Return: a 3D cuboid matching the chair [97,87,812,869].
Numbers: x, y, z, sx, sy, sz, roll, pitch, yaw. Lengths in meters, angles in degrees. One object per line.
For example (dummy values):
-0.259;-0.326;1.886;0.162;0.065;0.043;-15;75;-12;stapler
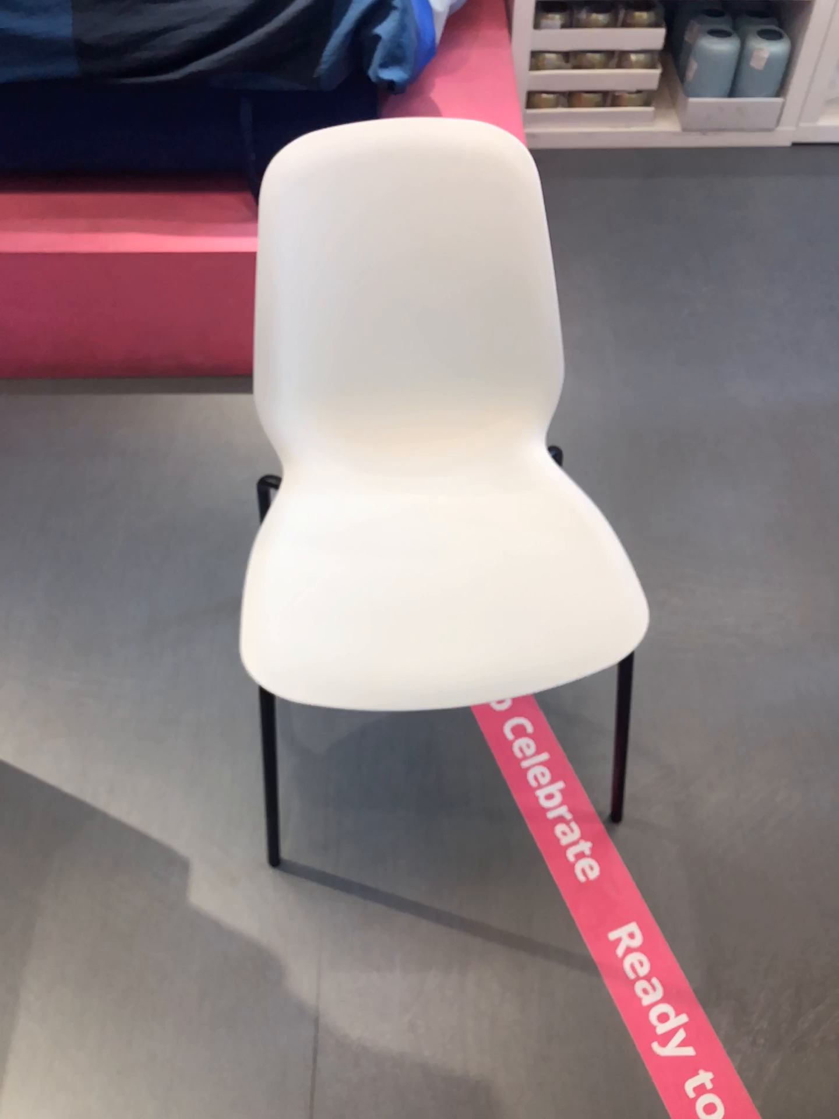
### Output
-0.001;-0.044;1.103;0.510;0.756;0.493;-6;52;-5;chair
